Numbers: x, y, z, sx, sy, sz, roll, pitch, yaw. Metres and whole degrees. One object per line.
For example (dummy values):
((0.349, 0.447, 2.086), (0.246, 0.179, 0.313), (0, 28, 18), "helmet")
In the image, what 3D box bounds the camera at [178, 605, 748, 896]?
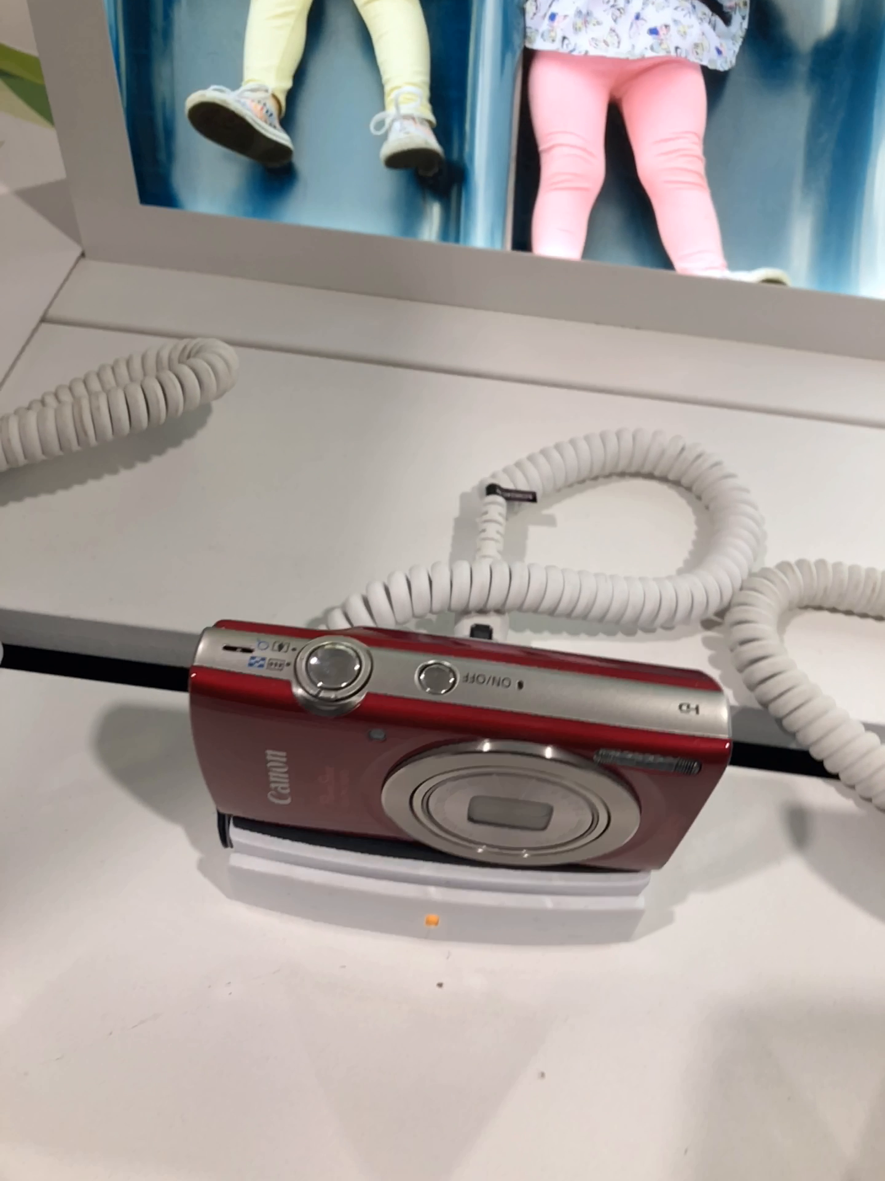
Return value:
((0.002, 0.032, 0.185), (0.093, 0.050, 0.022), (6, 49, 0), "camera")
